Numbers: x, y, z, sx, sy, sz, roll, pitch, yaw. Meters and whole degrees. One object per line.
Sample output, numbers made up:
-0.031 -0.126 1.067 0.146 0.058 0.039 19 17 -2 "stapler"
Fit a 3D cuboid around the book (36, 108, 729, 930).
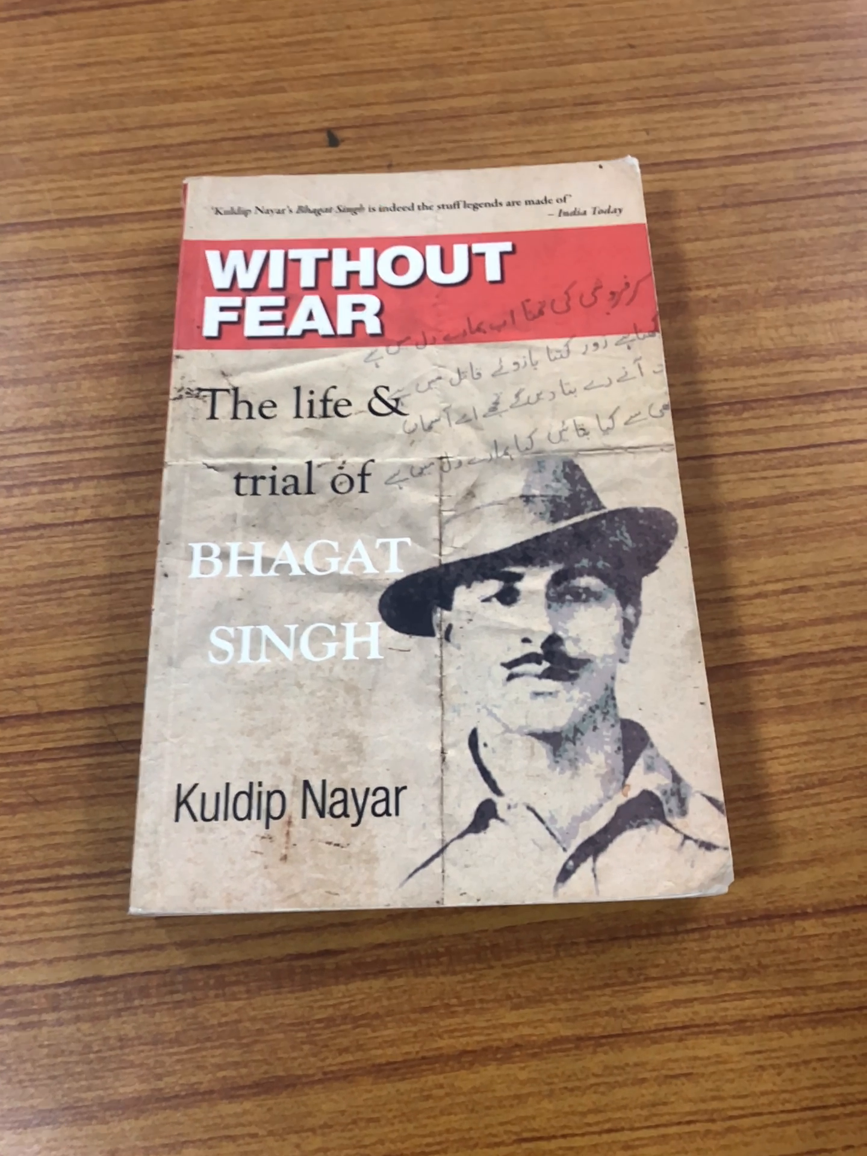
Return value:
-0.012 -0.024 0.247 0.140 0.030 0.210 -2 70 1 "book"
